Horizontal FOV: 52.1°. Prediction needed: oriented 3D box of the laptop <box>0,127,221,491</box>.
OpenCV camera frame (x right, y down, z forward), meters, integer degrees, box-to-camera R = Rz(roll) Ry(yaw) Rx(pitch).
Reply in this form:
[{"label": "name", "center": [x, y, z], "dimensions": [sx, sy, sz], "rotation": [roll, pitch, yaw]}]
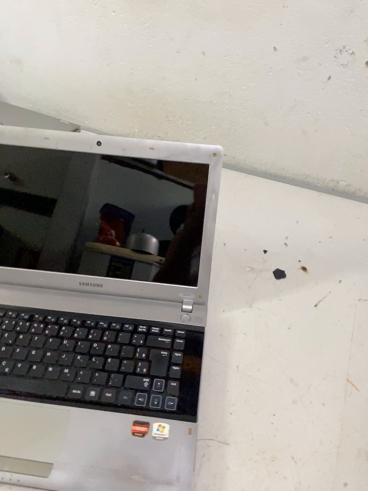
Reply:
[{"label": "laptop", "center": [-0.143, 0.040, 0.442], "dimensions": [0.341, 0.180, 0.368], "rotation": [6, 42, 4]}]
